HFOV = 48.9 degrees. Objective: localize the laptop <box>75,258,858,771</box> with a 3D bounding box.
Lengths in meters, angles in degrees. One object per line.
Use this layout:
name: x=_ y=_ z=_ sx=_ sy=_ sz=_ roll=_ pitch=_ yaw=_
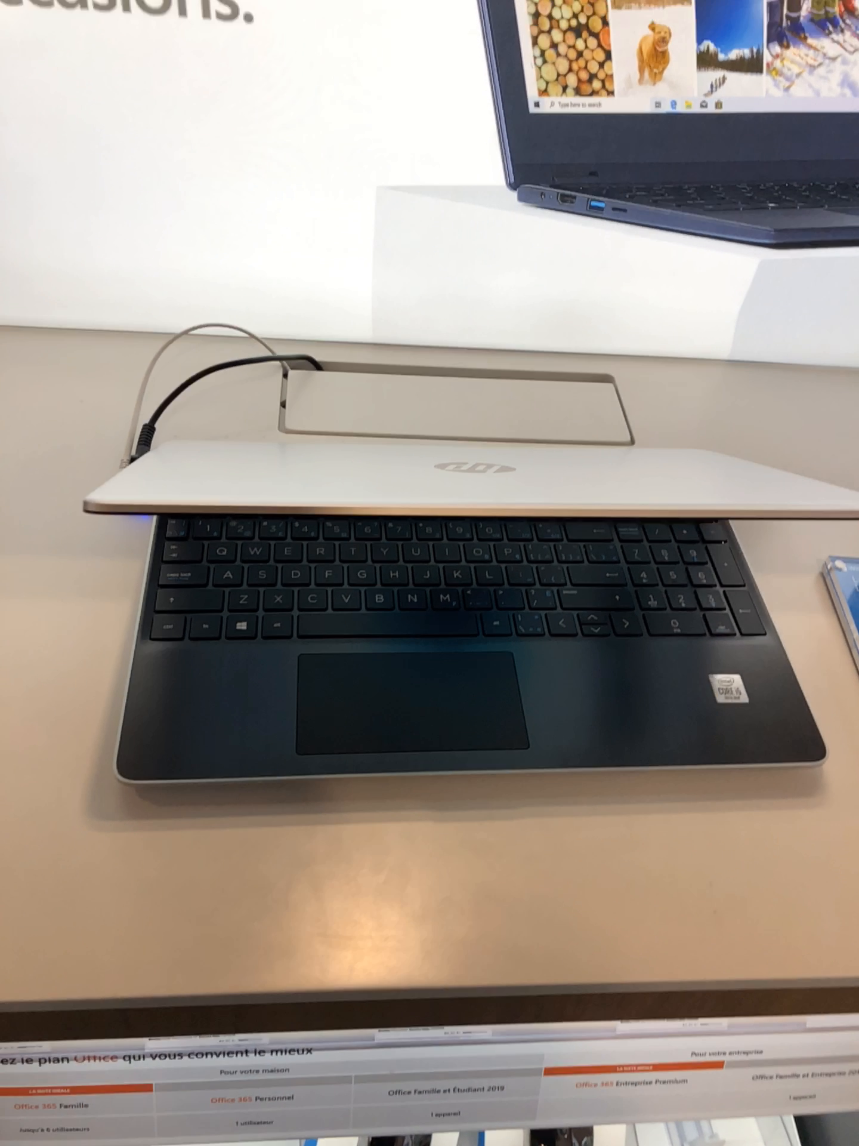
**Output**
laptop: x=0.026 y=-0.038 z=0.490 sx=0.345 sy=0.131 sz=0.230 roll=0 pitch=47 yaw=-7
